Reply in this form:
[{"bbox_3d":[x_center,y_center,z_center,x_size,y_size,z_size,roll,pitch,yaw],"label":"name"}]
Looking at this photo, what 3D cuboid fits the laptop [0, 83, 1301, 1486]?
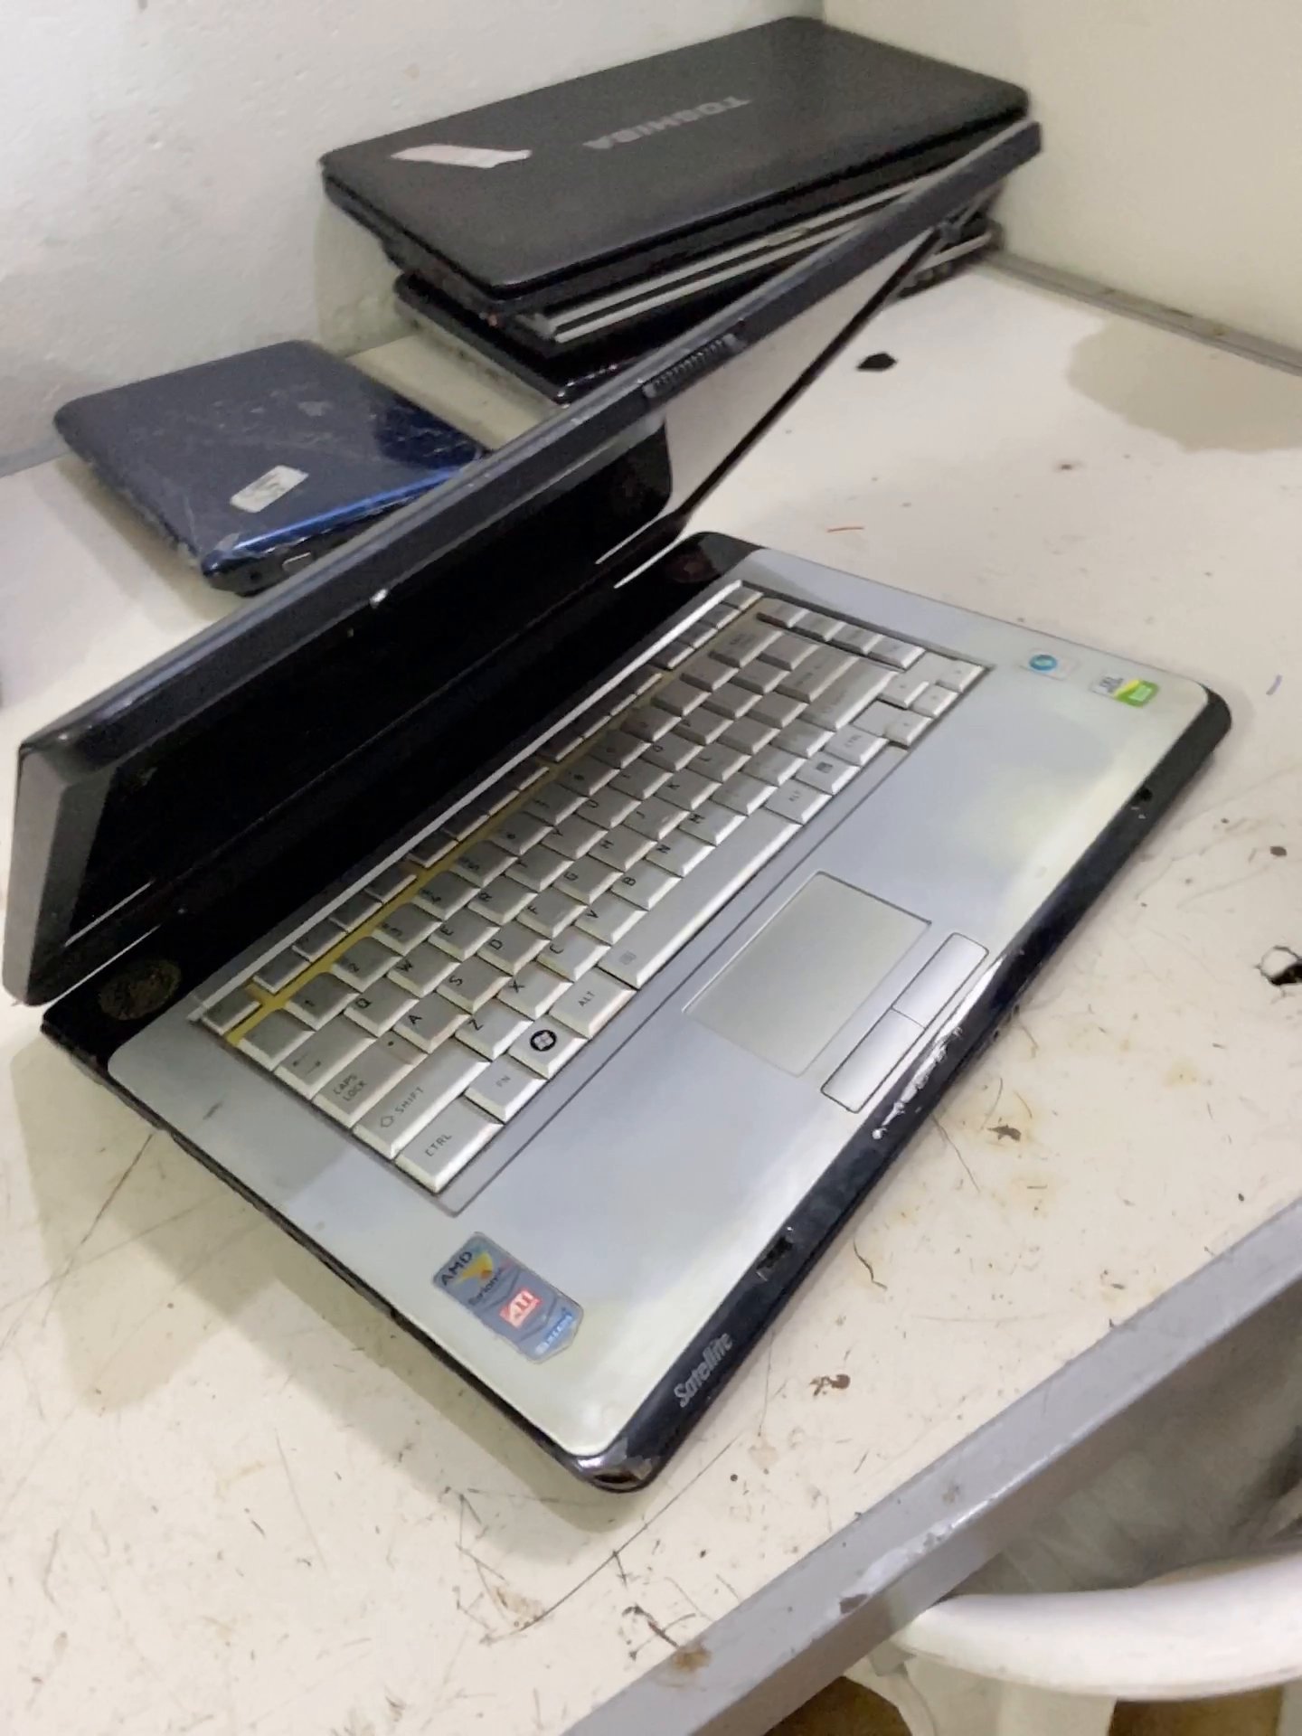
[{"bbox_3d":[-0.006,-0.074,0.414,0.257,0.185,0.357,26,54,31],"label":"laptop"}]
